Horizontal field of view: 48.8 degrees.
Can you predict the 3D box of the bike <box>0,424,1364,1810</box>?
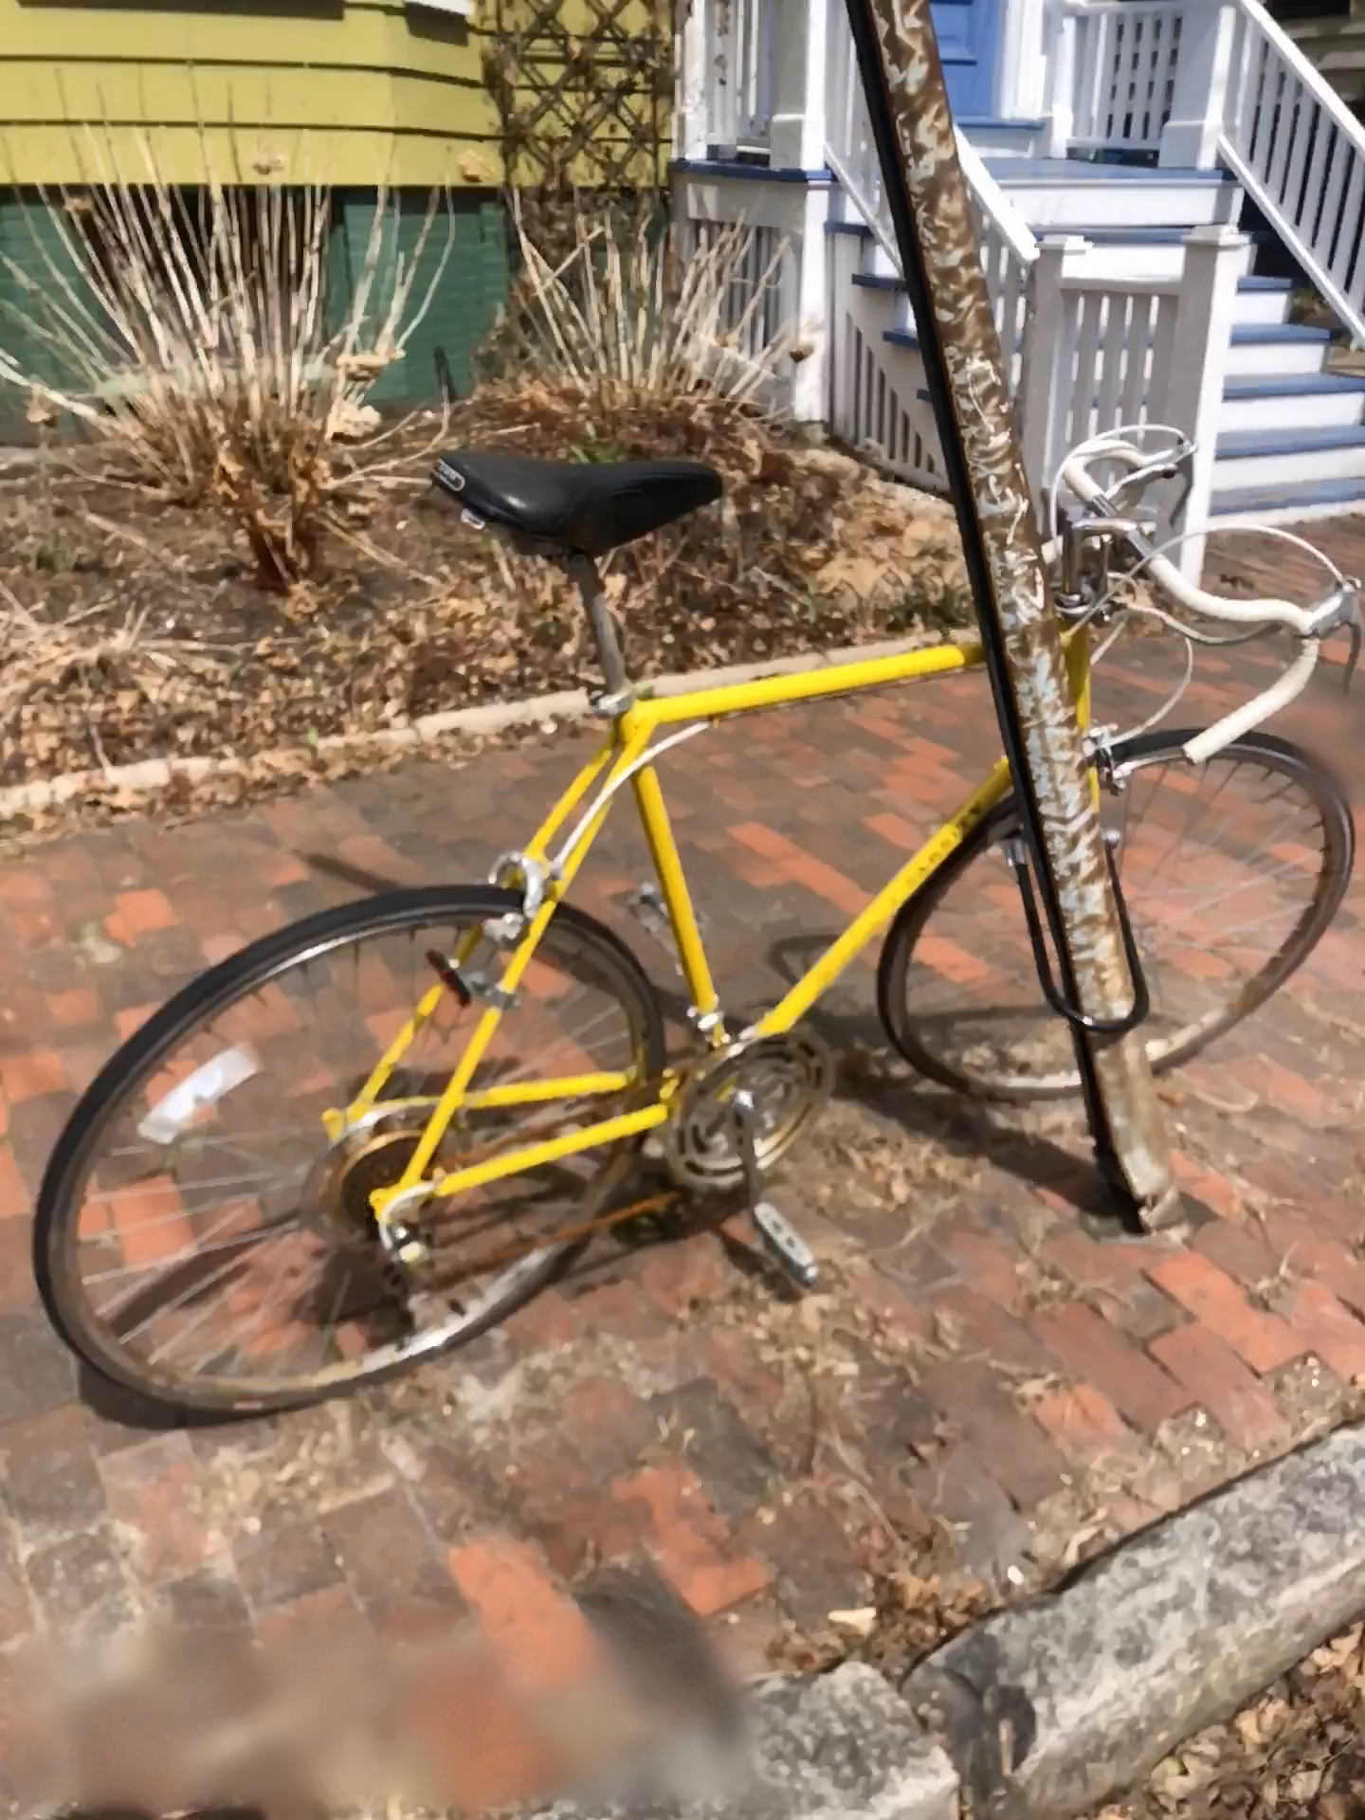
[{"bbox_3d":[0.218,0.068,1.658,1.705,0.855,0.525,-16,29,-22],"label":"bike"}]
